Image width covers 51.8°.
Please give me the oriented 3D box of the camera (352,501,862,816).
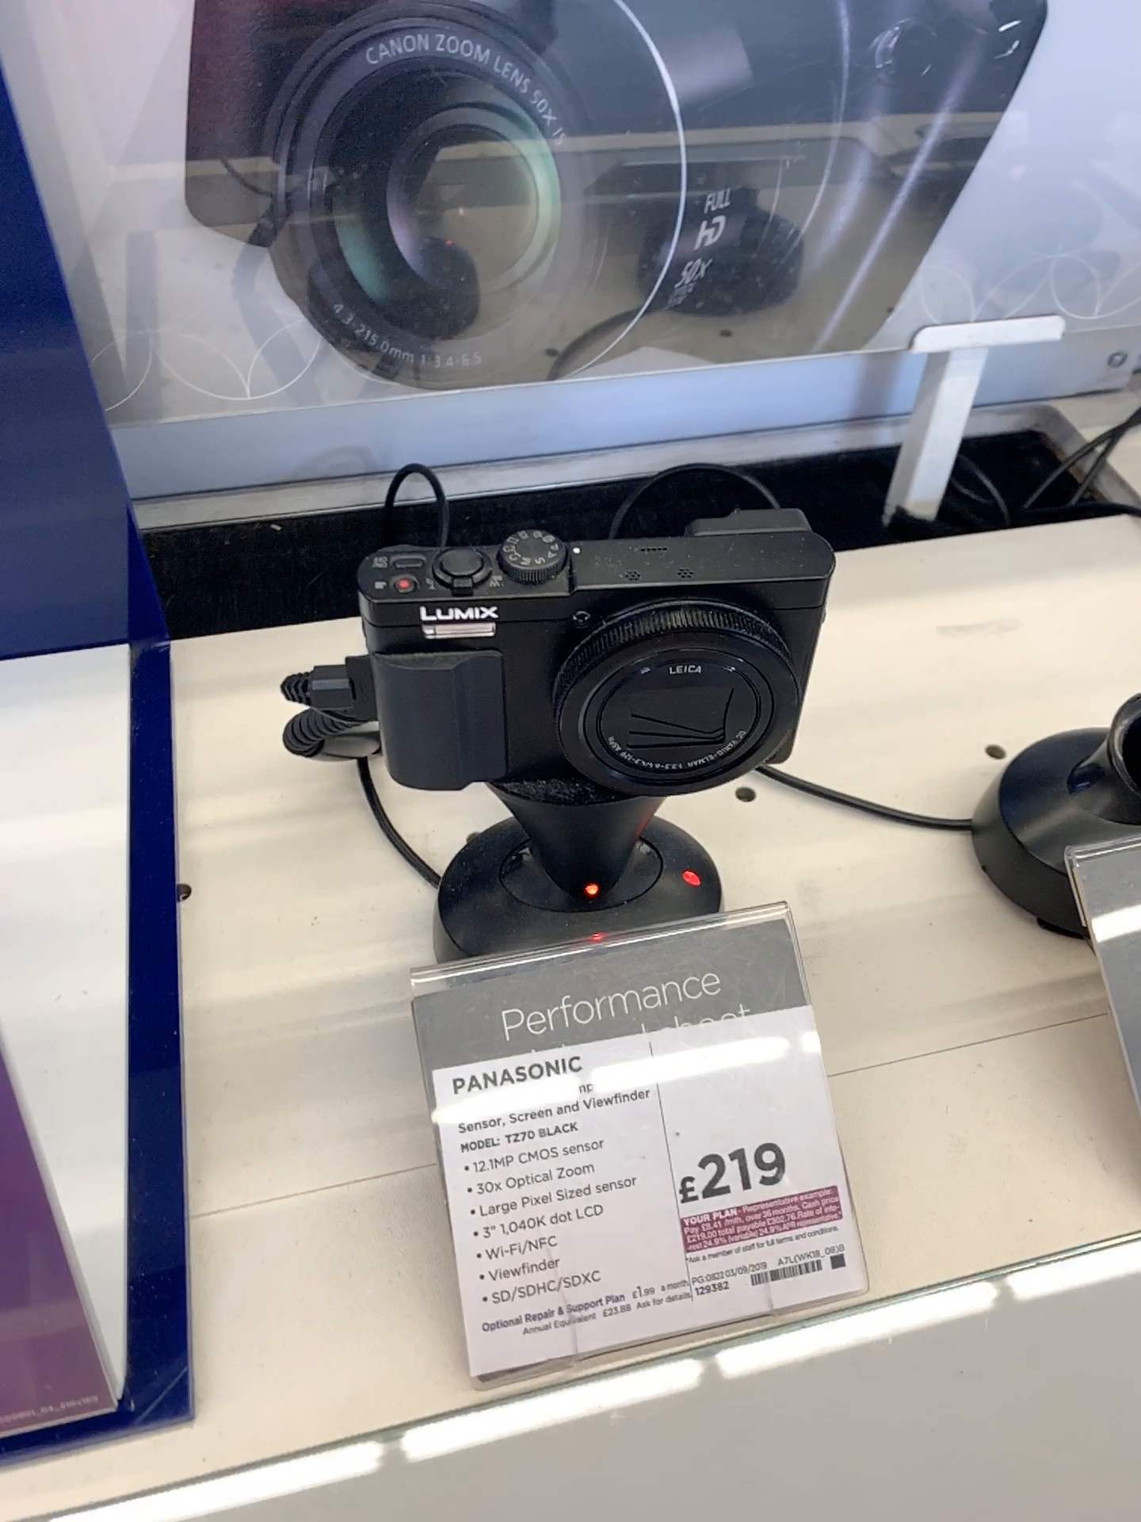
[{"bbox_3d":[0.006,-0.024,0.287,0.110,0.069,0.030,-3,48,-5],"label":"camera"}]
